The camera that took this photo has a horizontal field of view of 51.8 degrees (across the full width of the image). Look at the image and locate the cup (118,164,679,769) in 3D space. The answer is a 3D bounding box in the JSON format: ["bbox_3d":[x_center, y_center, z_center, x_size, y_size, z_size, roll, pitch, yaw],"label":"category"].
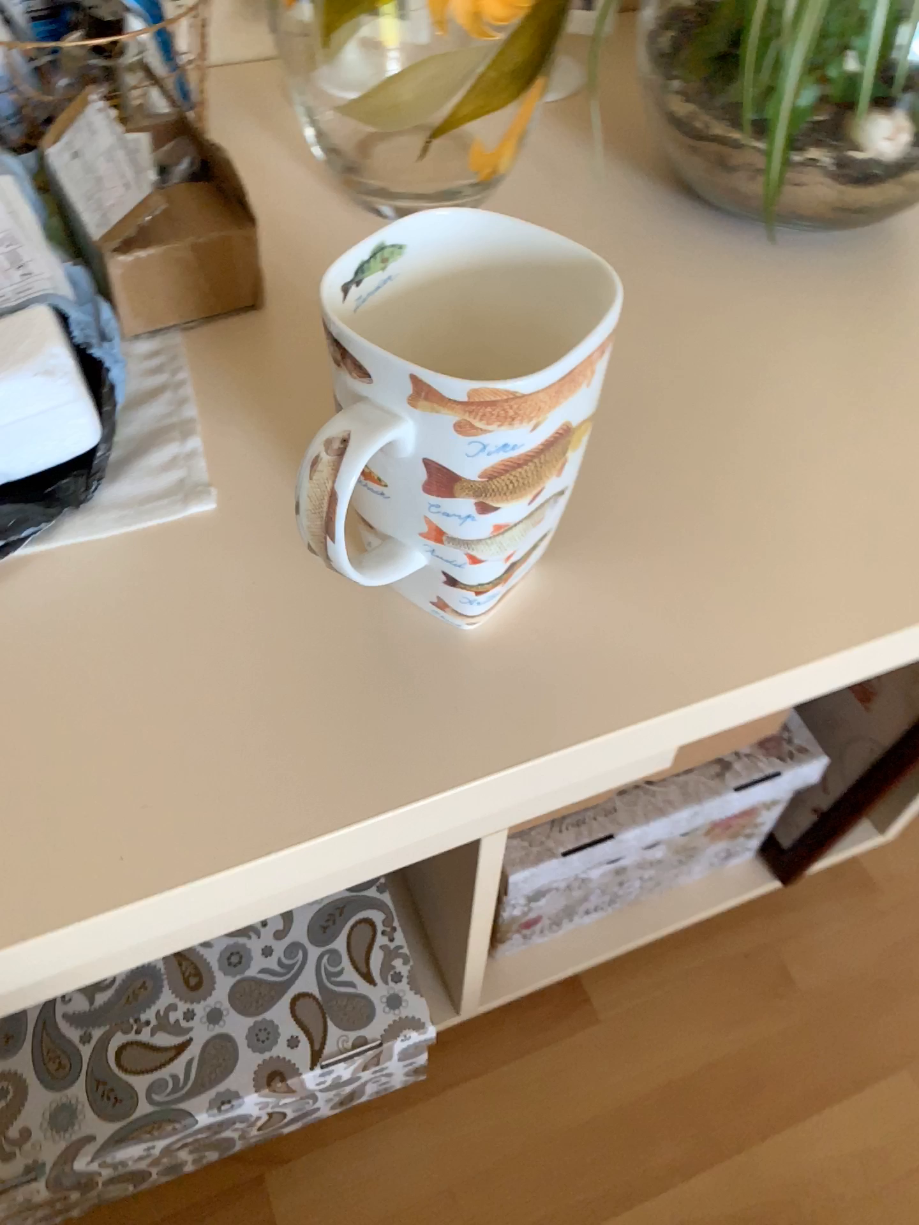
[{"bbox_3d":[-0.016,-0.053,0.334,0.100,0.129,0.141,34,57,22],"label":"cup"}]
